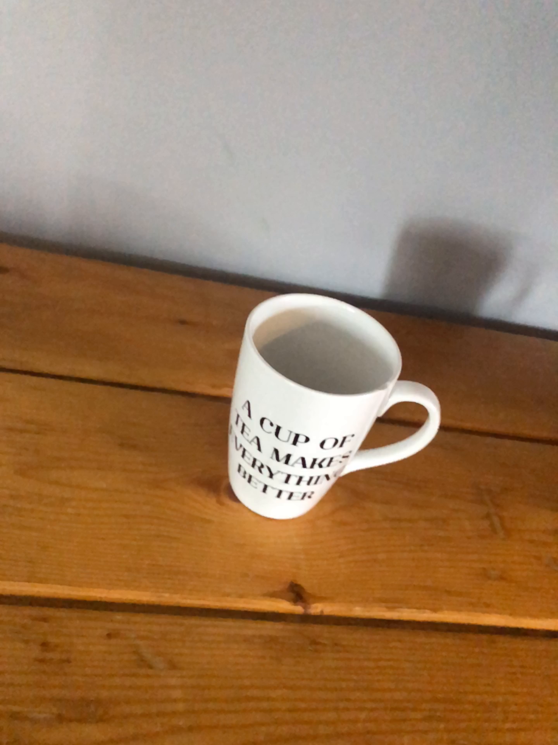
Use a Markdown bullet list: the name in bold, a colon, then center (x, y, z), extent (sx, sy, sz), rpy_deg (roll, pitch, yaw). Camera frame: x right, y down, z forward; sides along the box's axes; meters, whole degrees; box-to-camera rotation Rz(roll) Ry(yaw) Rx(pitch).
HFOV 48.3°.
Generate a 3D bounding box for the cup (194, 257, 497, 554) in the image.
- **cup**: center (0.035, 0.023, 0.388), extent (0.140, 0.120, 0.100), rpy_deg (15, 42, -5)
